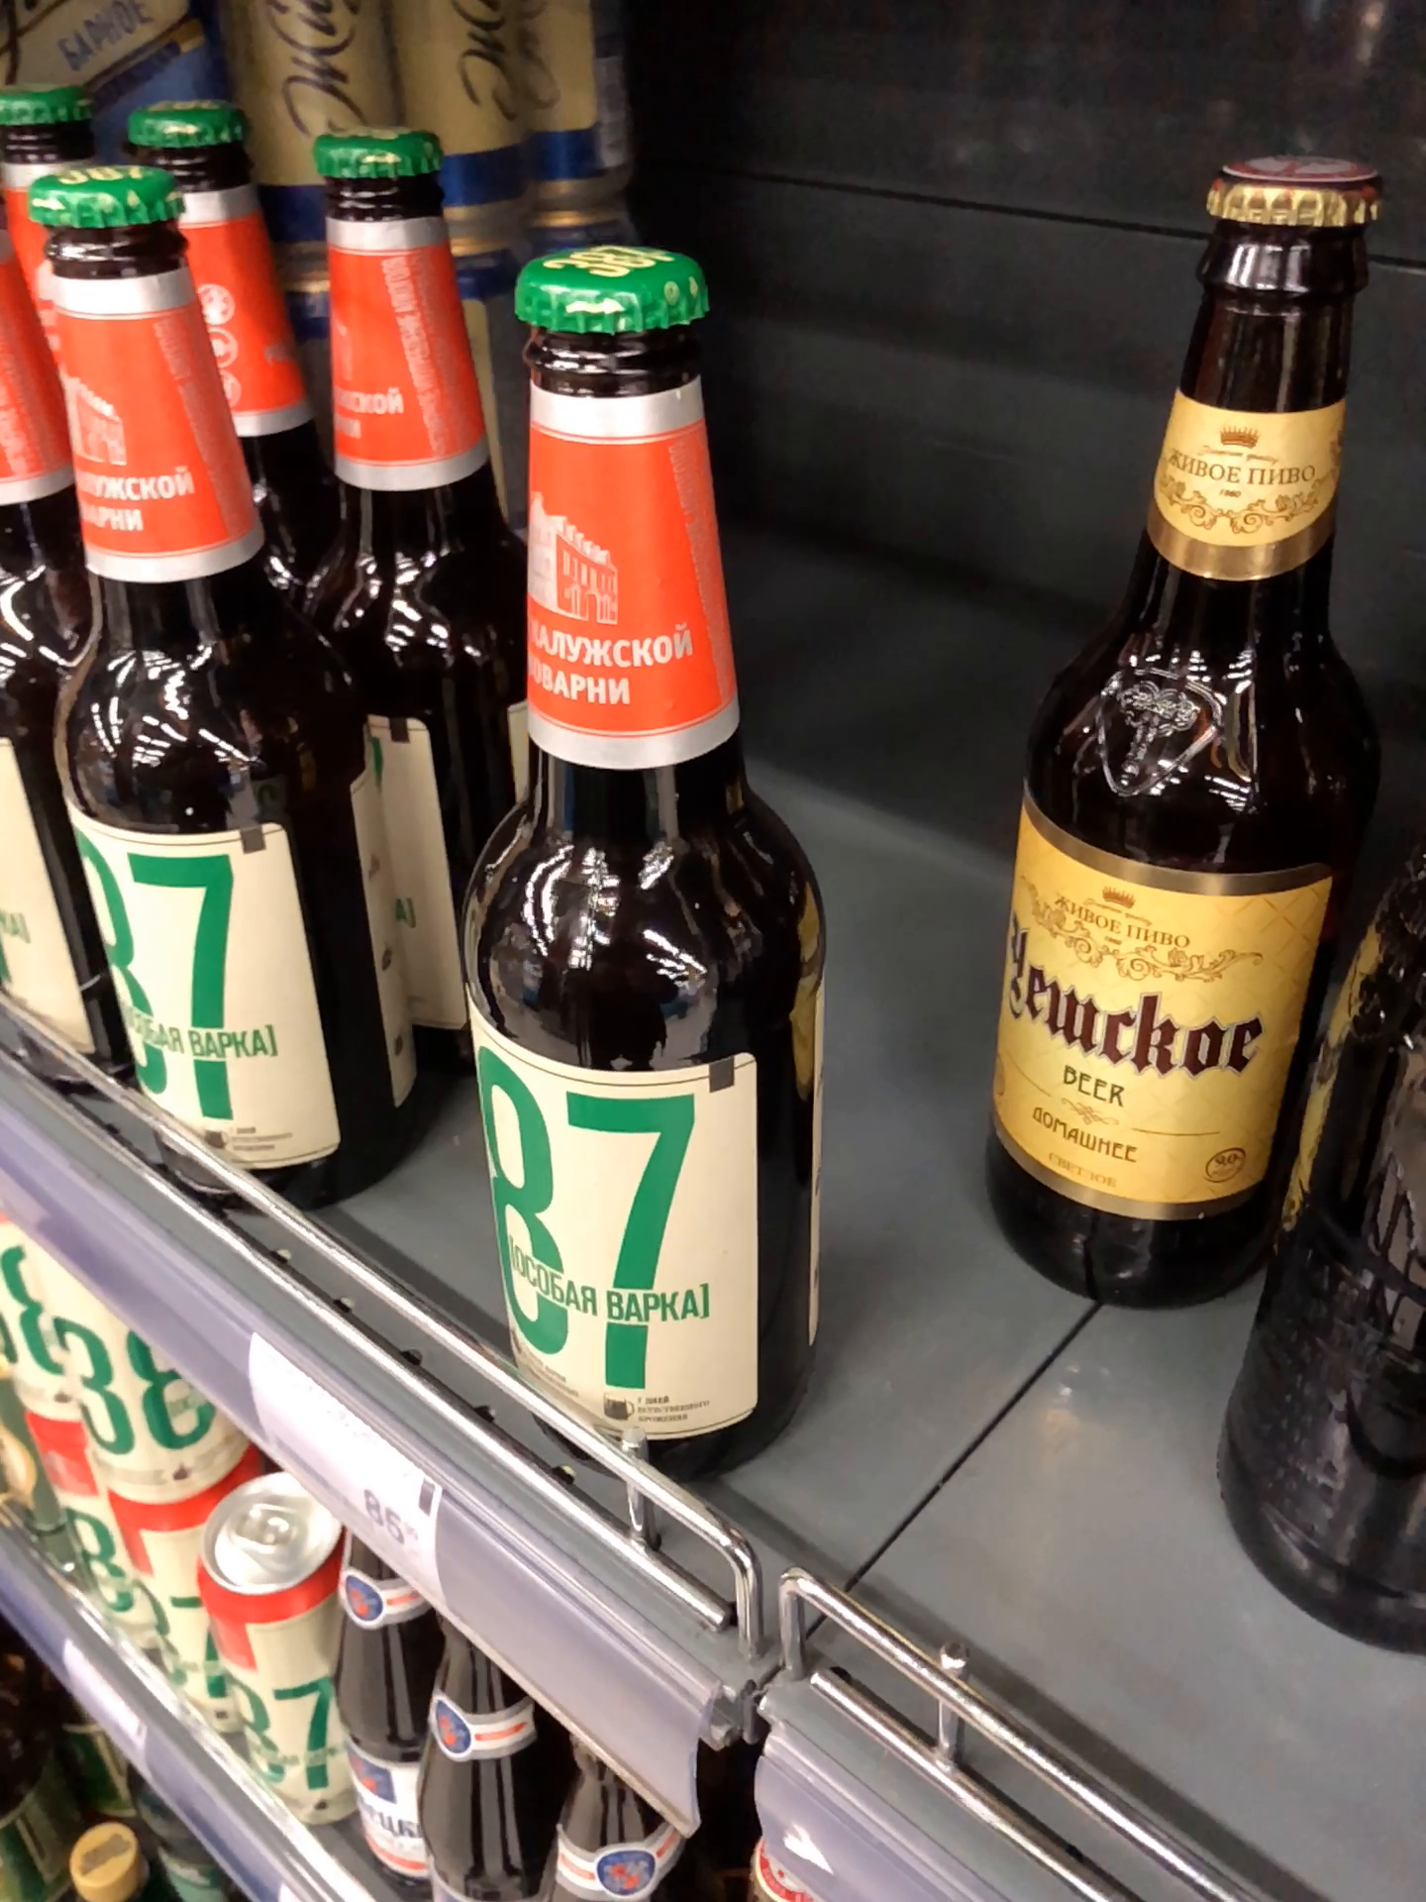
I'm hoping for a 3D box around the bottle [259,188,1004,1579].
[{"bbox_3d":[-0.012,-0.003,0.285,0.070,0.229,0.080,-25,41,-31],"label":"bottle"}]
